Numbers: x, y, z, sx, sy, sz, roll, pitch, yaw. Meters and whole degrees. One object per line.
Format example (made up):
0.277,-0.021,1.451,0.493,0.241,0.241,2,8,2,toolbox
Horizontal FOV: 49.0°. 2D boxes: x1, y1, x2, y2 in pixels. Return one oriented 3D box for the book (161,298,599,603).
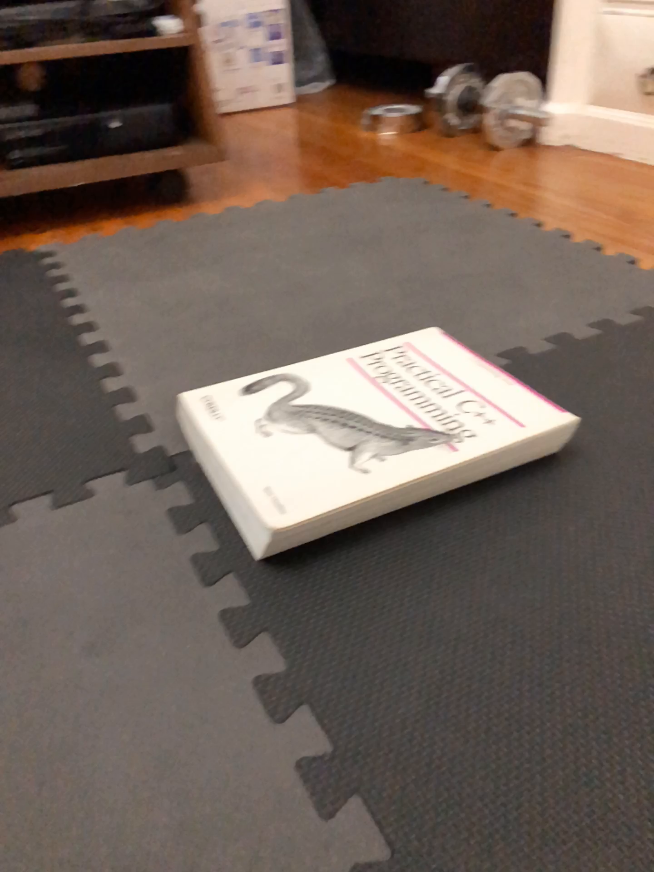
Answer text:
0.030,-0.010,0.535,0.250,0.050,0.201,-18,42,-20,book
